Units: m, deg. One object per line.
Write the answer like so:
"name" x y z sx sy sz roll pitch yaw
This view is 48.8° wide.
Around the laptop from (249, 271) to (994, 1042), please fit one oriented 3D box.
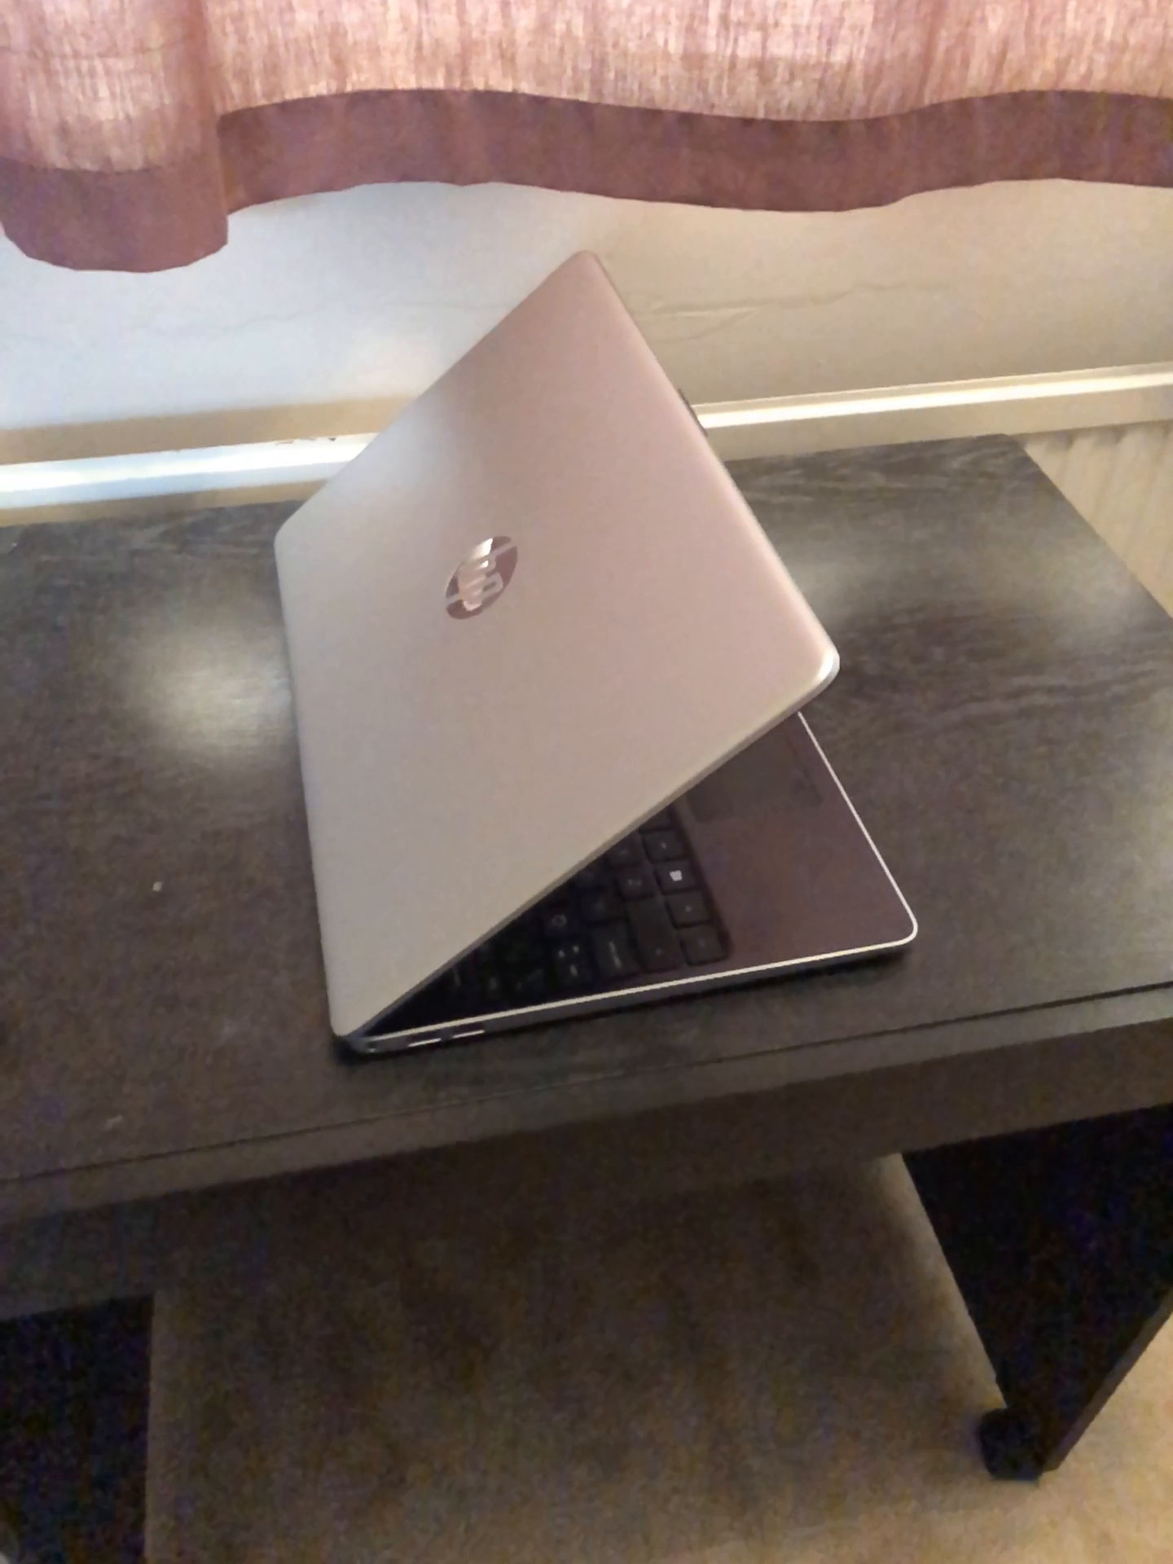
"laptop" -0.015 -0.091 0.599 0.236 0.141 0.363 -8 44 -13
